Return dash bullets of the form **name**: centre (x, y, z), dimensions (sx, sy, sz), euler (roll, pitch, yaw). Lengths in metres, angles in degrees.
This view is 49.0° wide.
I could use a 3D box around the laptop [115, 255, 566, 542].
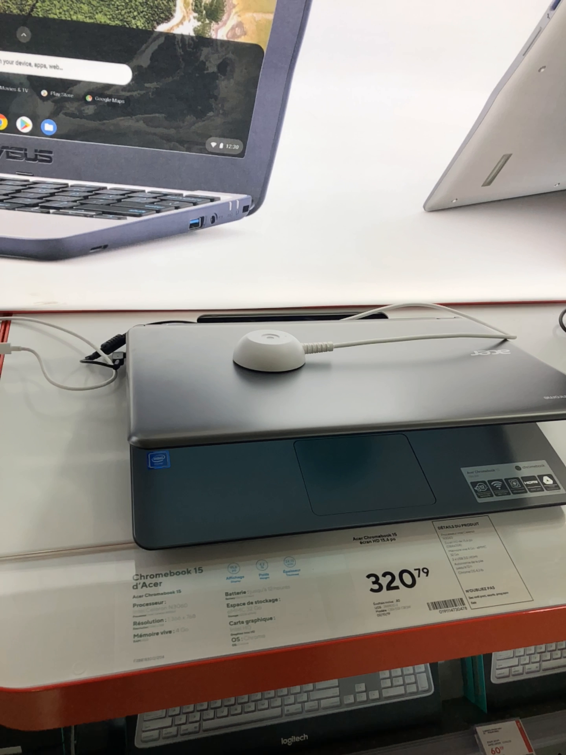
- **laptop**: centre (0.048, -0.004, 0.543), dimensions (0.369, 0.088, 0.249), euler (-2, 41, -13)
